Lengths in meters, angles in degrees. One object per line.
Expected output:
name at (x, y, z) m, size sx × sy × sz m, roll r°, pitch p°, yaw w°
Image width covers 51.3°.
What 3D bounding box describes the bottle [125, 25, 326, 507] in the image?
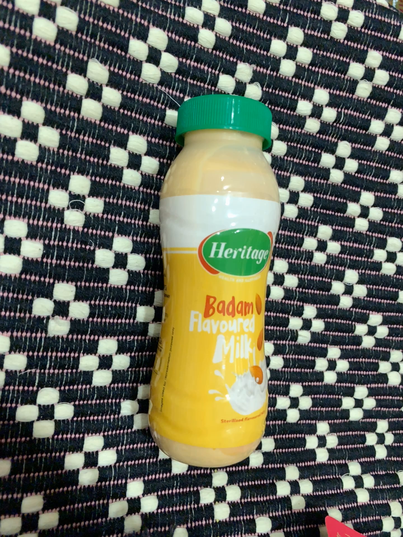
bottle at (0.010, 0.000, 0.163) m, size 0.060 × 0.040 × 0.150 m, roll 3°, pitch 88°, yaw -31°
